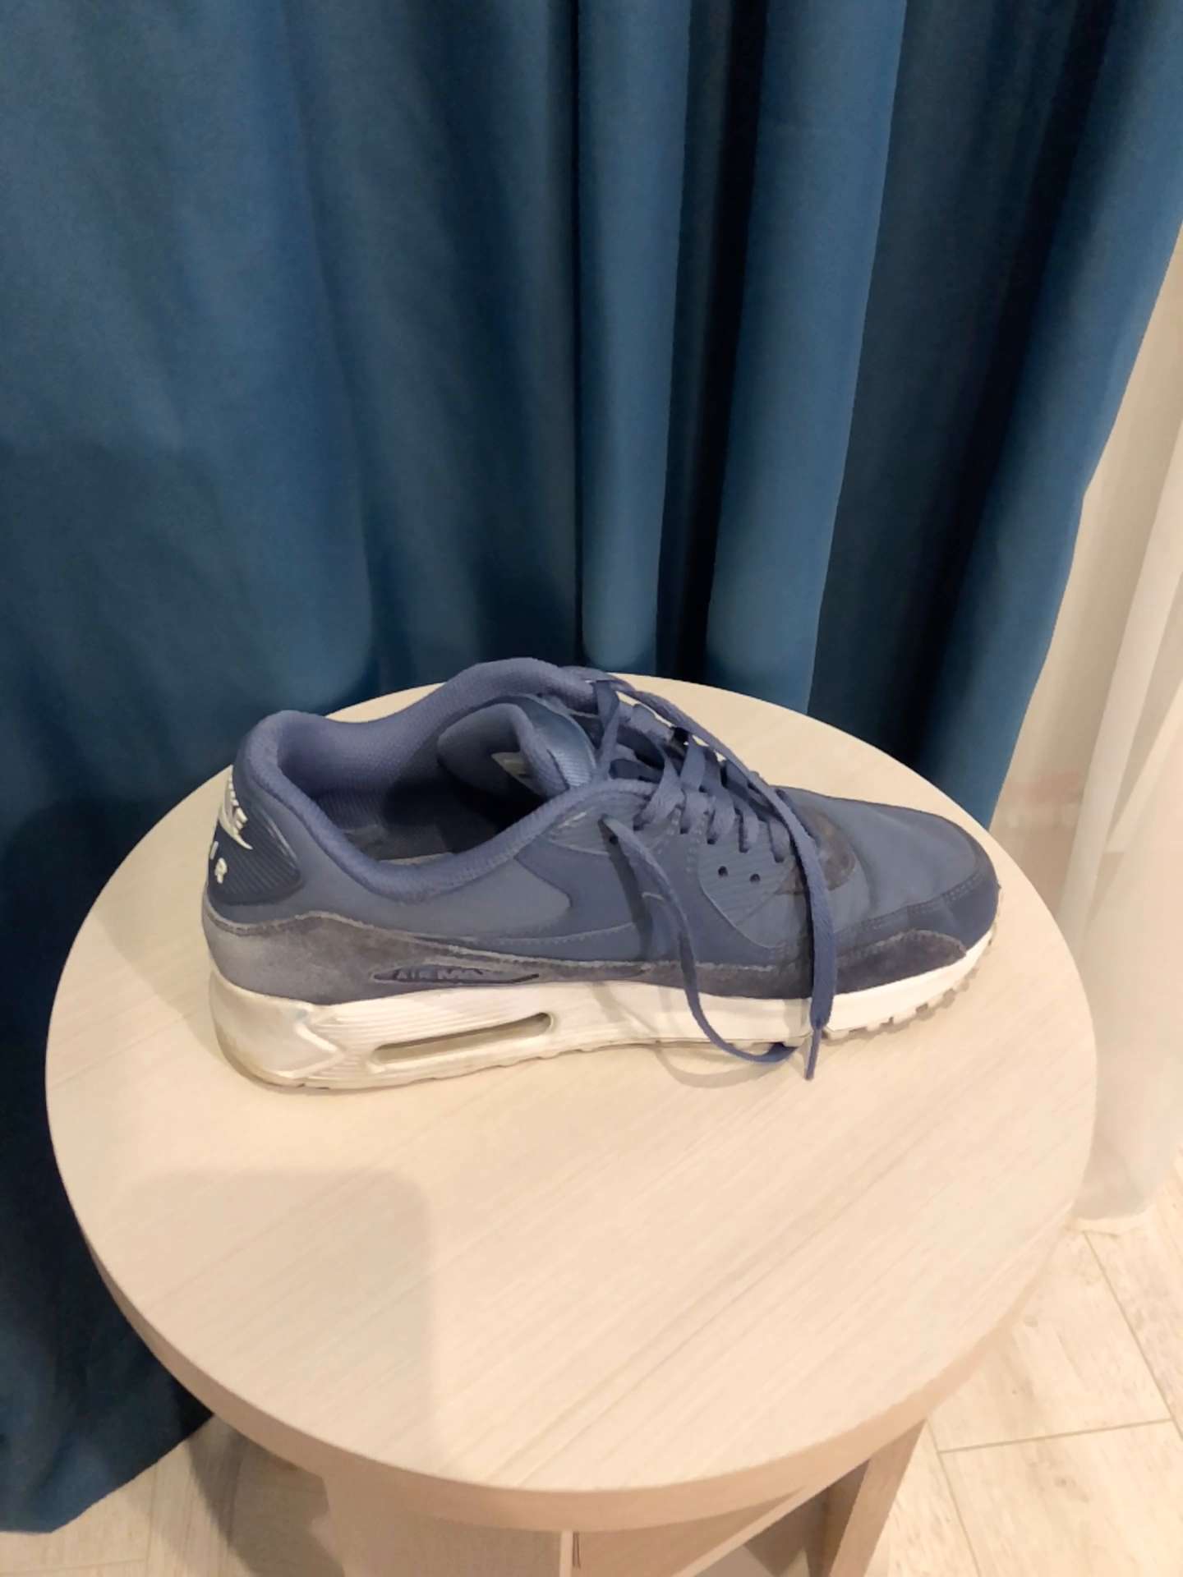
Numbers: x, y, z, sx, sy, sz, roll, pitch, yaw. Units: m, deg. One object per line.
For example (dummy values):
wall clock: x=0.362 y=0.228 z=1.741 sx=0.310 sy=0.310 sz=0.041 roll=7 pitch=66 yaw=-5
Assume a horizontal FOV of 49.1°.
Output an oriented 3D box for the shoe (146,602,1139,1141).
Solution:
shoe: x=0.010 y=0.020 z=0.430 sx=0.280 sy=0.109 sz=0.111 roll=-4 pitch=38 yaw=-11
